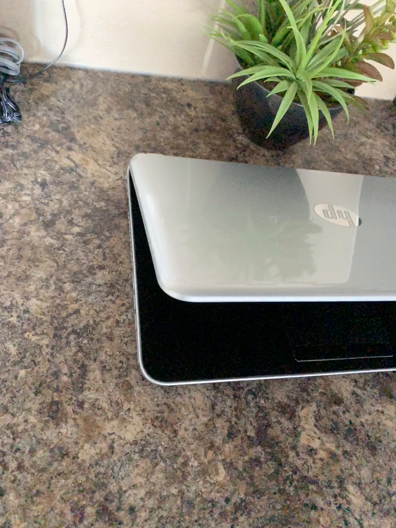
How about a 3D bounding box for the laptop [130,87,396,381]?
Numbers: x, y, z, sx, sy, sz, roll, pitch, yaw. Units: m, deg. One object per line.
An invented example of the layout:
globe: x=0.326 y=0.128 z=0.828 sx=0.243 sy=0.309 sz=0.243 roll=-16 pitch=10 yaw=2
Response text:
laptop: x=0.117 y=-0.029 z=0.351 sx=0.328 sy=0.081 sz=0.207 roll=1 pitch=58 yaw=-17
